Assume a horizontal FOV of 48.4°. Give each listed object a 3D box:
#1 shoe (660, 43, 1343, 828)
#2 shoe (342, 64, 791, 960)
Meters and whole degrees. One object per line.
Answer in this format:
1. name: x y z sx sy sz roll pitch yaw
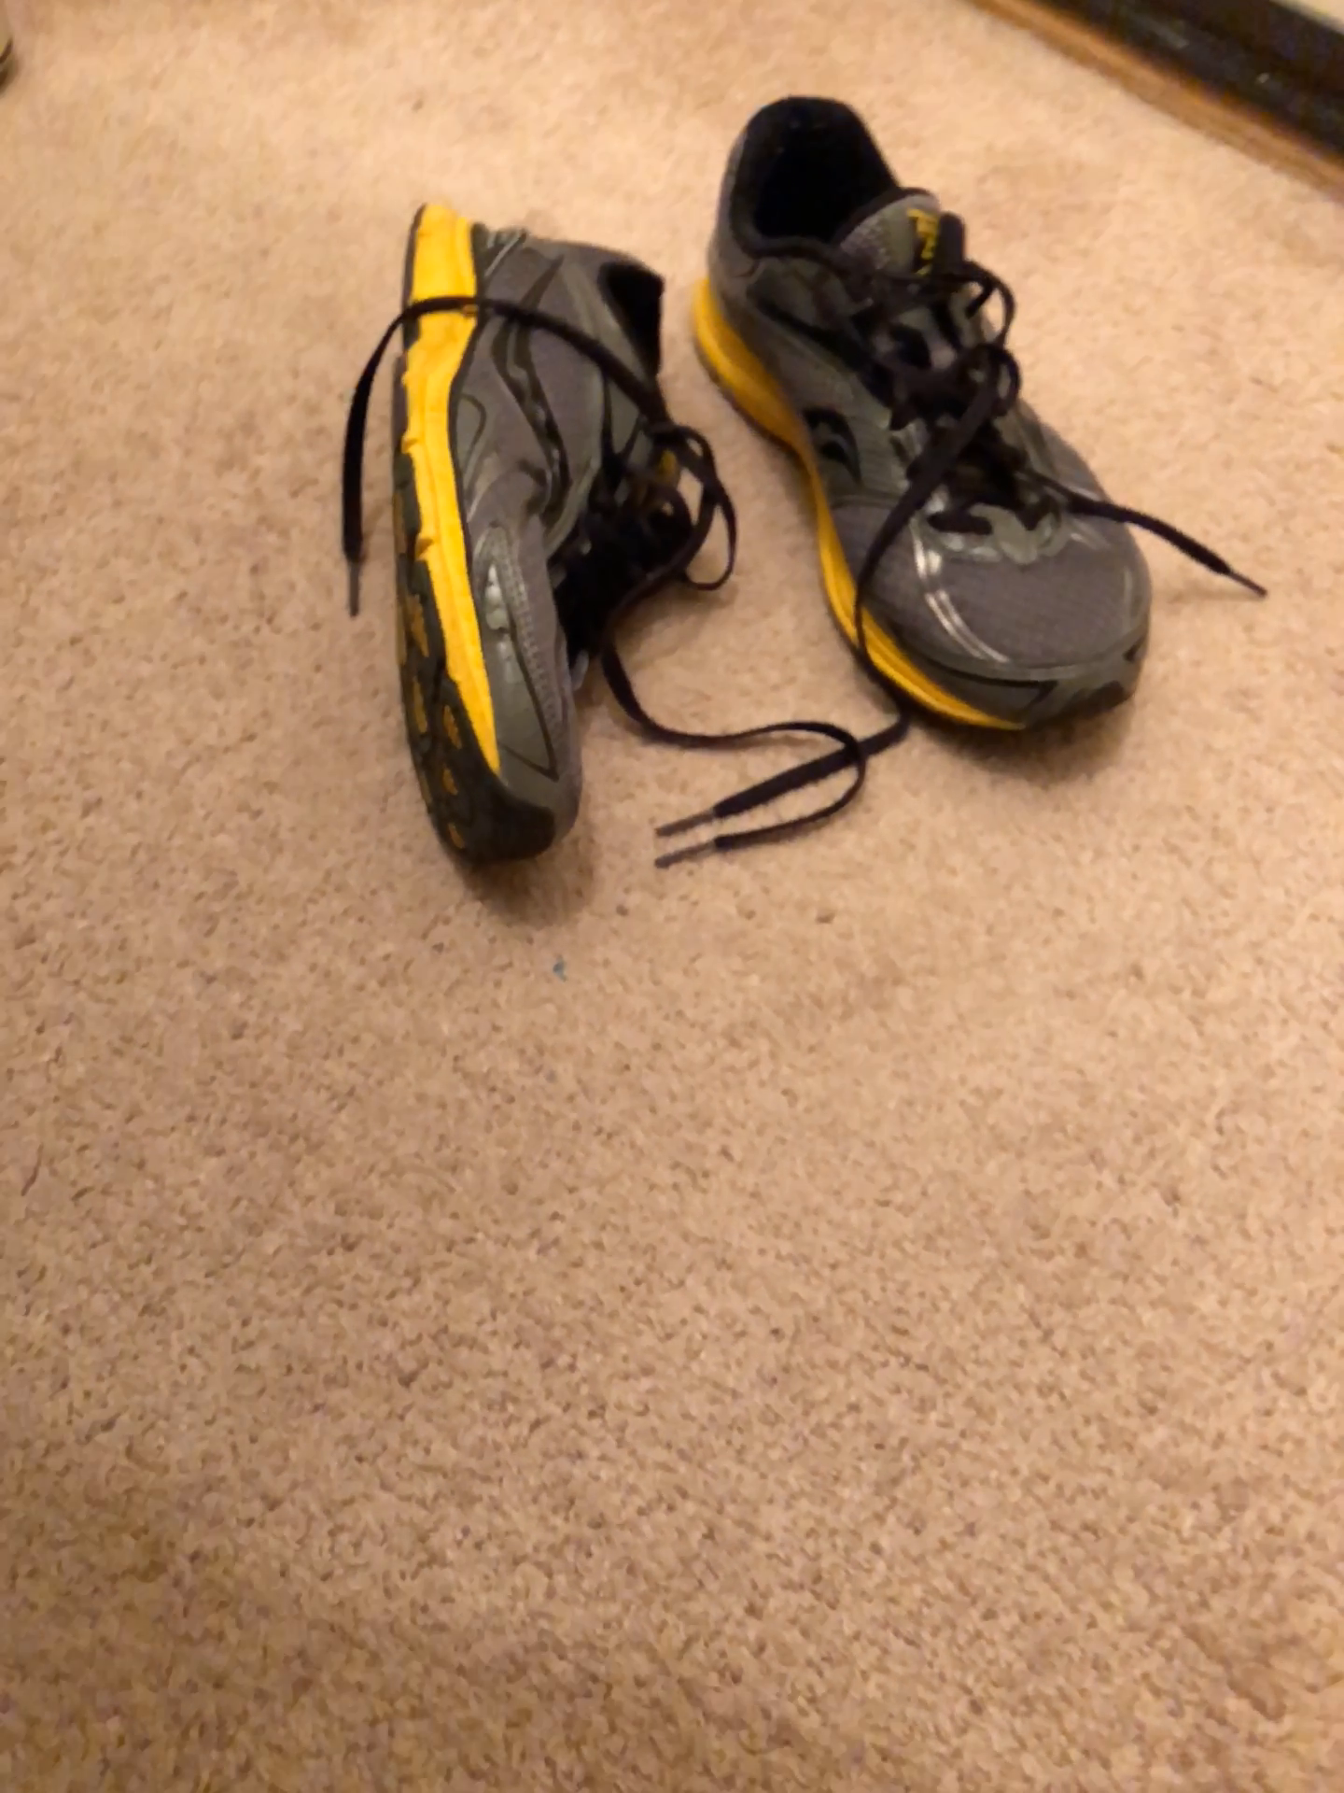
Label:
1. shoe: 0.097 -0.175 0.528 0.118 0.098 0.284 -13 57 -13
2. shoe: -0.044 -0.139 0.497 0.109 0.117 0.295 -6 56 -5
